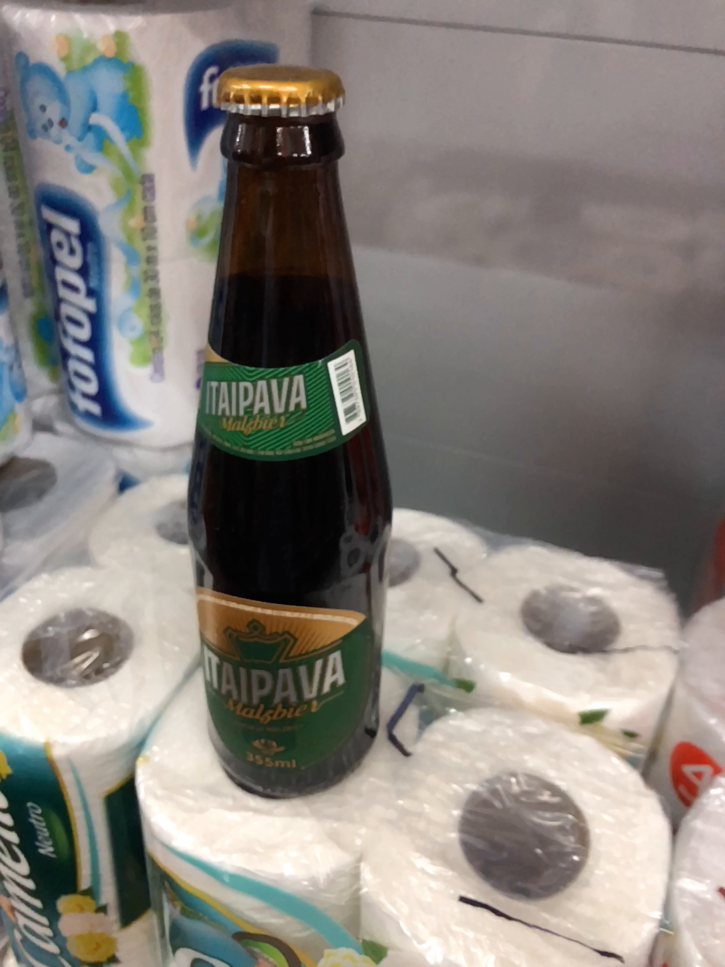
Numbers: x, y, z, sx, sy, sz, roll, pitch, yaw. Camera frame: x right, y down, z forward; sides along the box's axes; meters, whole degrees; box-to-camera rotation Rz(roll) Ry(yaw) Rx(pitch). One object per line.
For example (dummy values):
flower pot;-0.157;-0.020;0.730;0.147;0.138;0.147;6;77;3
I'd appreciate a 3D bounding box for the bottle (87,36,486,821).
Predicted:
bottle;-0.017;0.000;0.237;0.070;0.218;0.060;10;36;9
